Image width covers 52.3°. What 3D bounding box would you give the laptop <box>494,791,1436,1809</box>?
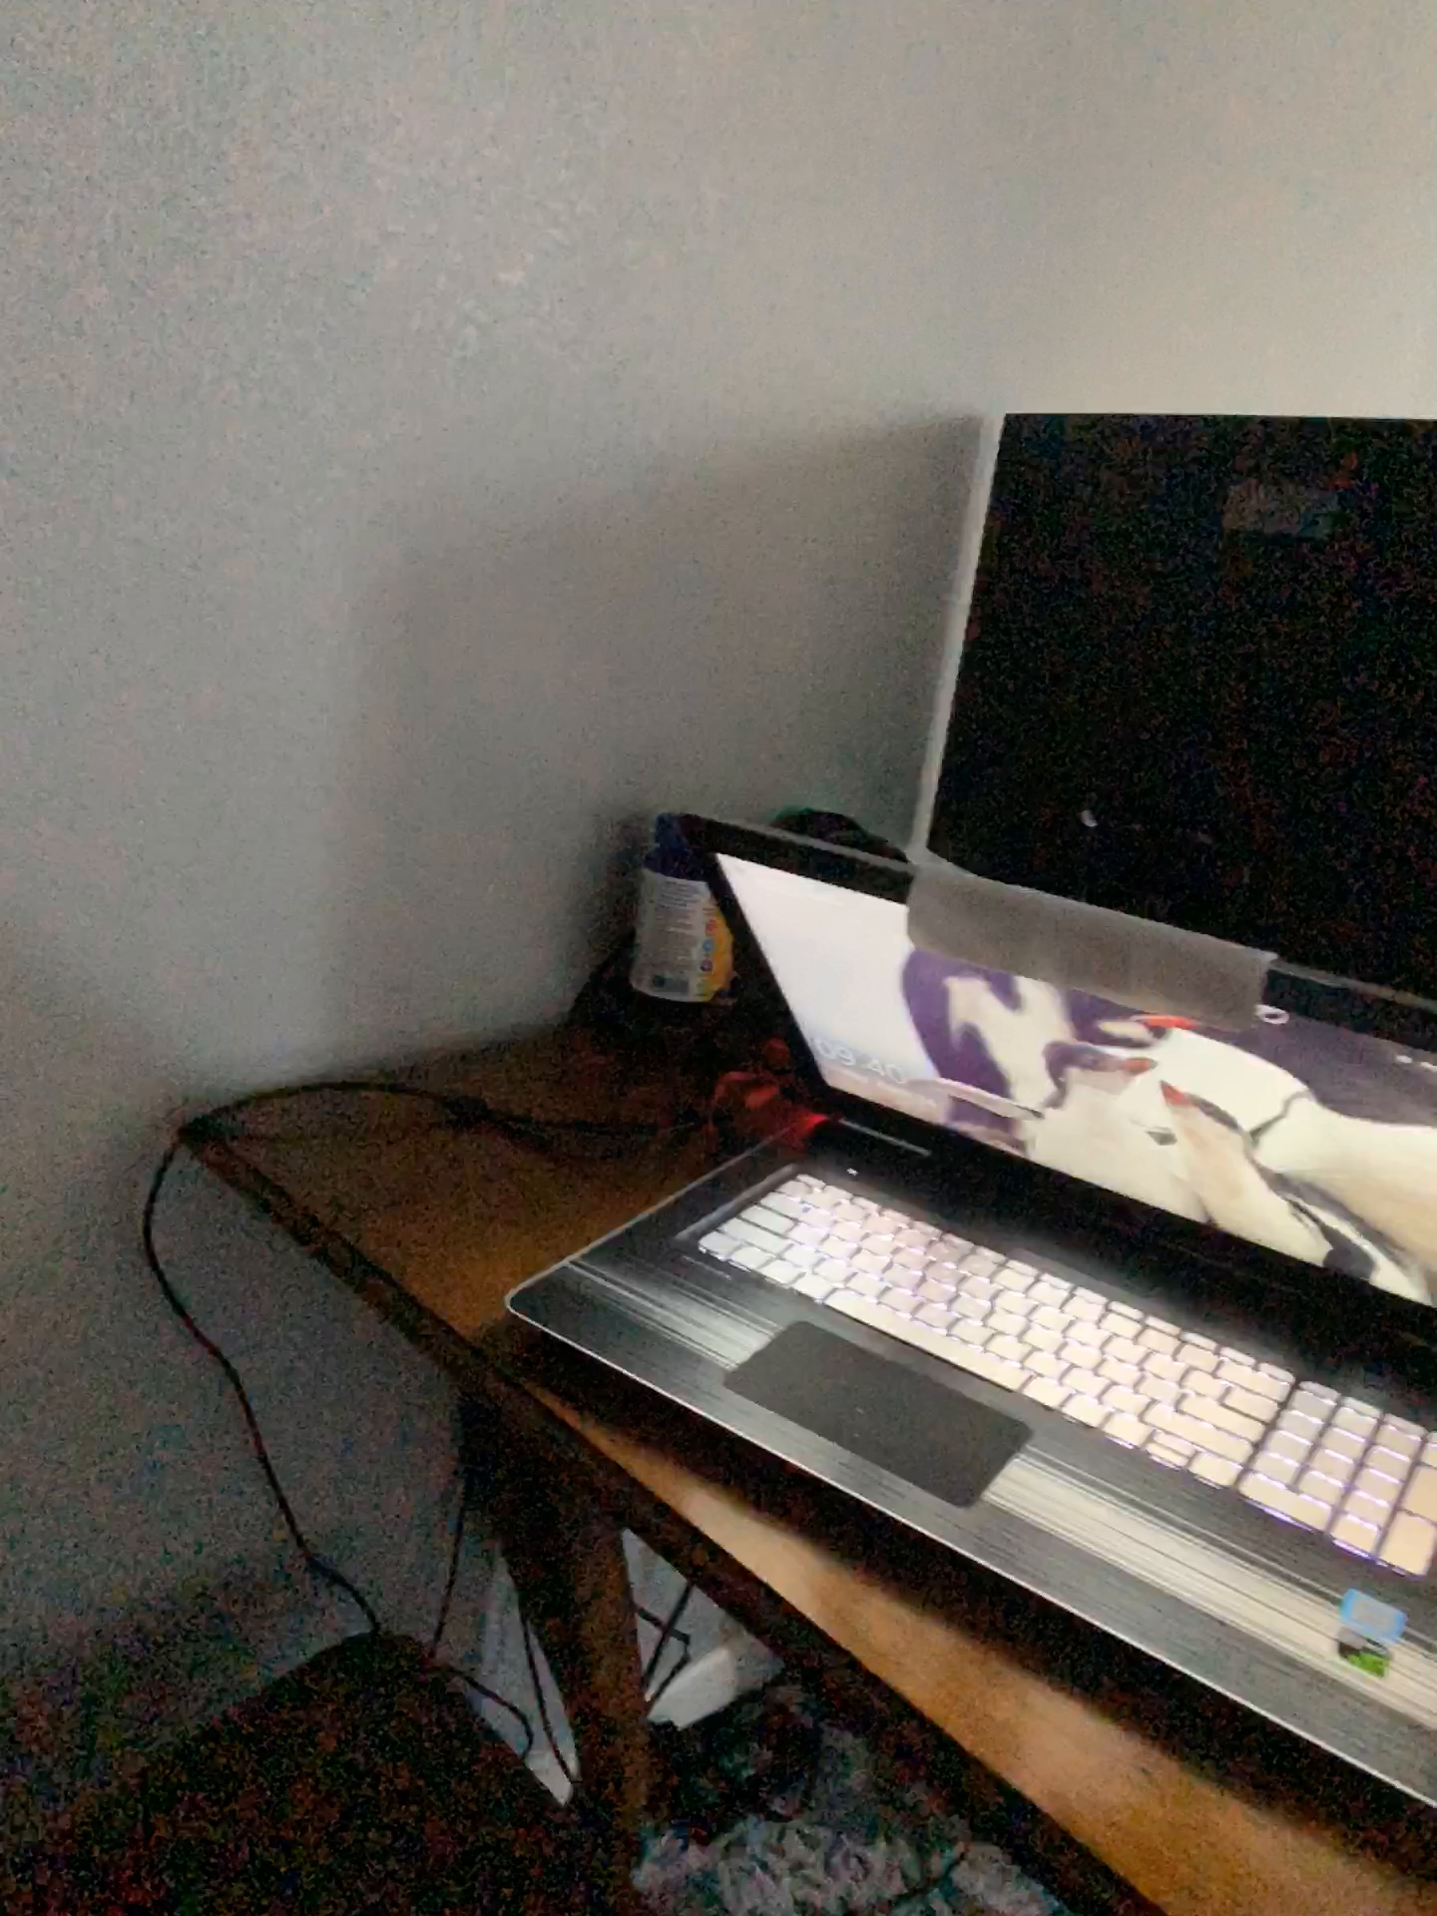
[{"bbox_3d":[0.147,0.081,0.610,0.393,0.187,0.258,18,22,32],"label":"laptop"}]
